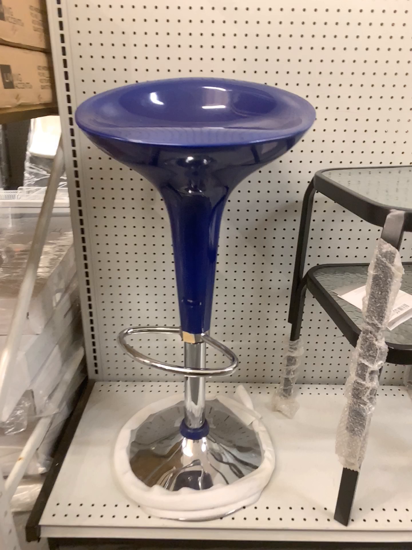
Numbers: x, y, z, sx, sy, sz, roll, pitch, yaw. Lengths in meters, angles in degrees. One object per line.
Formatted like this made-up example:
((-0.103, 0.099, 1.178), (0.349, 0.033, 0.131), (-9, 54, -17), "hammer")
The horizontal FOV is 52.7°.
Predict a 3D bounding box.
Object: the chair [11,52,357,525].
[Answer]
((-0.033, 0.034, 0.880), (0.434, 0.852, 0.419), (1, 23, -1), "chair")
